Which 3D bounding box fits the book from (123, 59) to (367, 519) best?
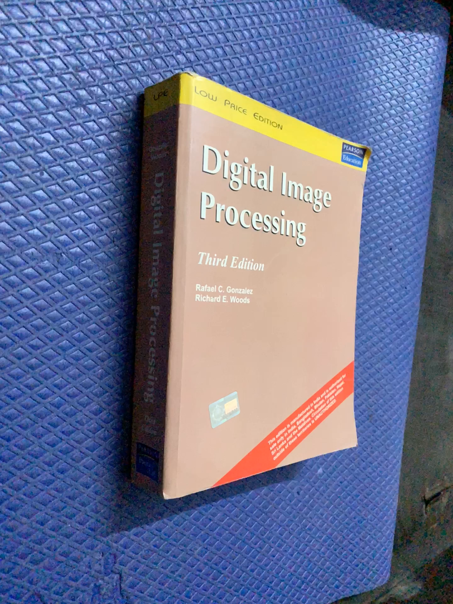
[{"bbox_3d":[0.024,-0.005,0.306,0.175,0.045,0.225,3,88,-44],"label":"book"}]
